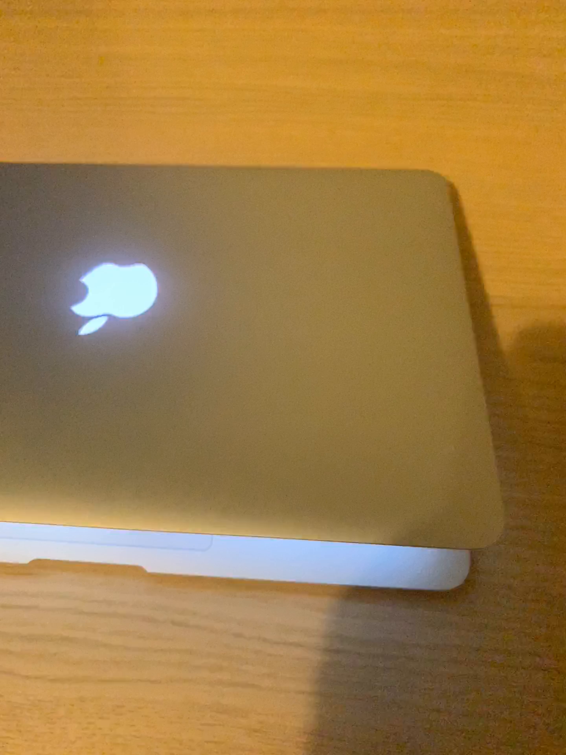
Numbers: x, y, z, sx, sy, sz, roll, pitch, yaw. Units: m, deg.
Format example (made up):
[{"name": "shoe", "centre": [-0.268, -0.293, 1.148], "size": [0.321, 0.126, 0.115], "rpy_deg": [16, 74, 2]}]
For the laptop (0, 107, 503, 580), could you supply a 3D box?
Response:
[{"name": "laptop", "centre": [-0.077, -0.033, 0.280], "size": [0.320, 0.048, 0.218], "rpy_deg": [2, 62, 5]}]
